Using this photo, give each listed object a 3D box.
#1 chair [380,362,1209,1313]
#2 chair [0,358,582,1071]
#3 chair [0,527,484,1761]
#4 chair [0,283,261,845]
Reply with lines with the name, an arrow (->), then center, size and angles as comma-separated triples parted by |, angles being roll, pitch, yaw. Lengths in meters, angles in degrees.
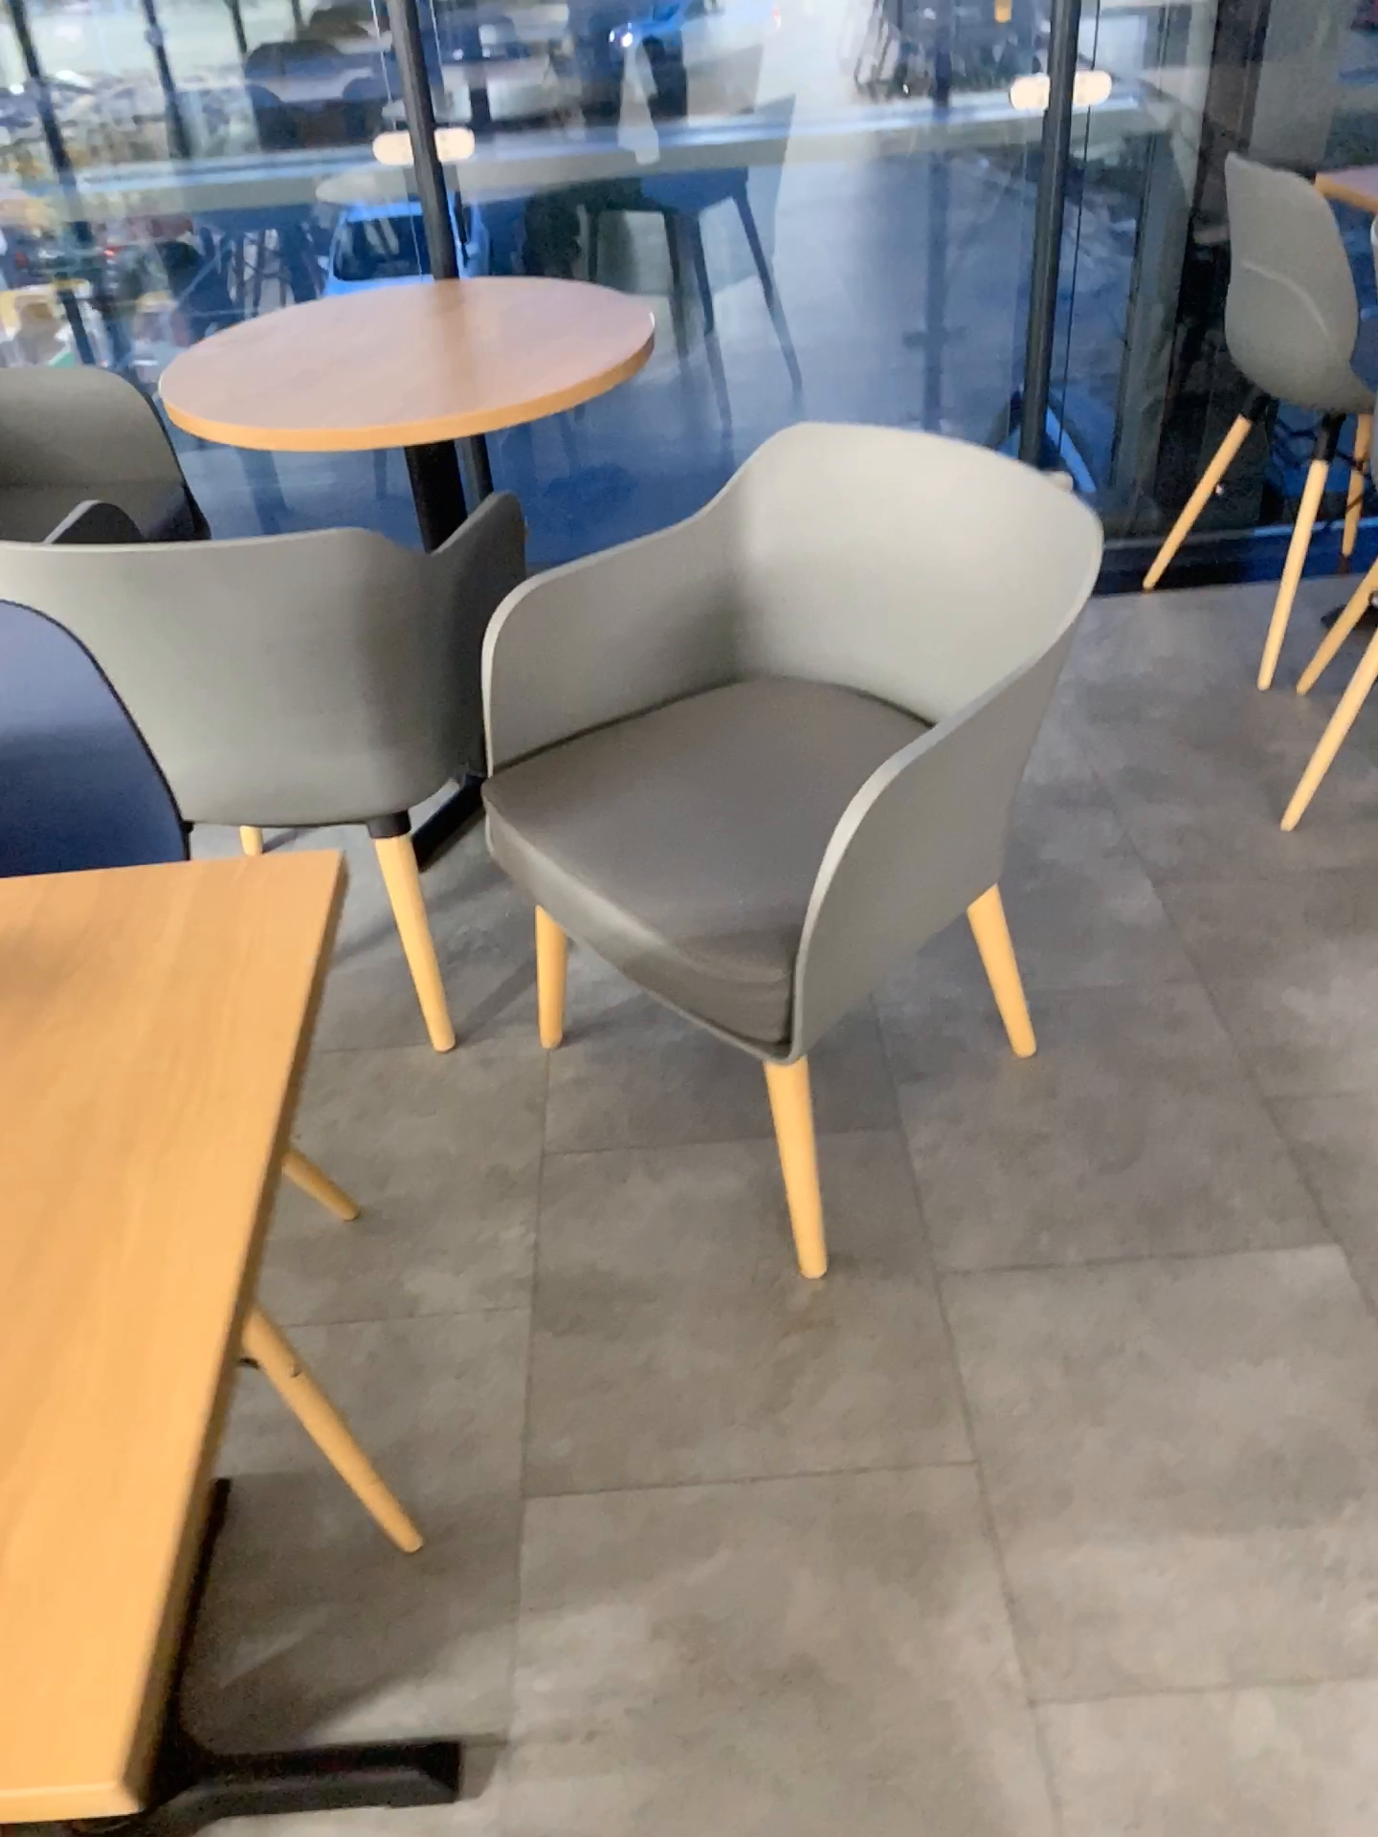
chair -> 0.117, -0.124, 1.566 | 0.582, 0.735, 0.546 | -30, 44, -30
chair -> -0.485, -0.266, 1.831 | 0.513, 0.725, 0.545 | 2, 38, 8
chair -> -0.526, 0.180, 1.184 | 0.474, 0.784, 0.514 | -16, 38, -14
chair -> -1.144, -0.570, 2.292 | 0.579, 0.725, 0.488 | -2, 37, 5
